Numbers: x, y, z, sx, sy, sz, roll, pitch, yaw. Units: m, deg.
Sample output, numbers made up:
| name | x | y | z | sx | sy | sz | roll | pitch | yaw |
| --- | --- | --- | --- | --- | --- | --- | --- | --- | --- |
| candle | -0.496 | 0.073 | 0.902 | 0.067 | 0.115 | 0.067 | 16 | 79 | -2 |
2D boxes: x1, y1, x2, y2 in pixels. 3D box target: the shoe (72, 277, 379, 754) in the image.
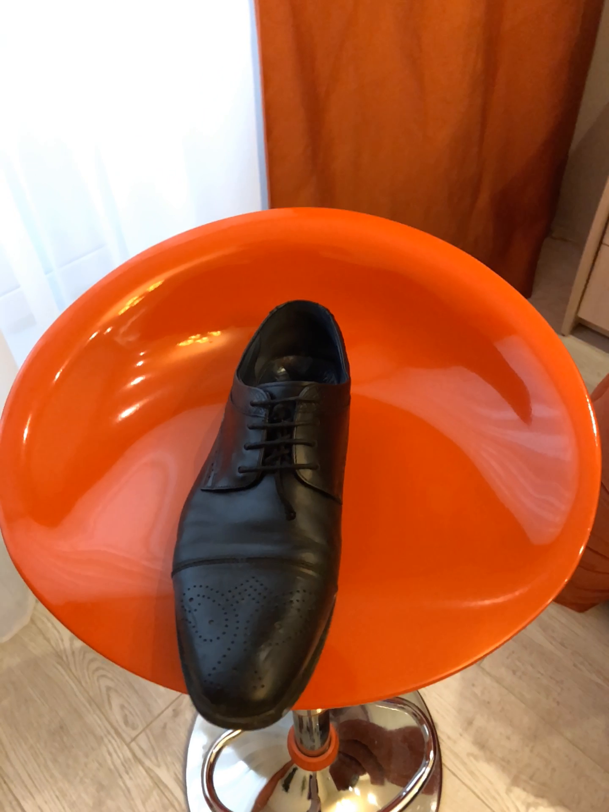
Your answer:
| name | x | y | z | sx | sy | sz | roll | pitch | yaw |
| --- | --- | --- | --- | --- | --- | --- | --- | --- | --- |
| shoe | -0.025 | 0.042 | 0.433 | 0.120 | 0.079 | 0.302 | 5 | 47 | 8 |
